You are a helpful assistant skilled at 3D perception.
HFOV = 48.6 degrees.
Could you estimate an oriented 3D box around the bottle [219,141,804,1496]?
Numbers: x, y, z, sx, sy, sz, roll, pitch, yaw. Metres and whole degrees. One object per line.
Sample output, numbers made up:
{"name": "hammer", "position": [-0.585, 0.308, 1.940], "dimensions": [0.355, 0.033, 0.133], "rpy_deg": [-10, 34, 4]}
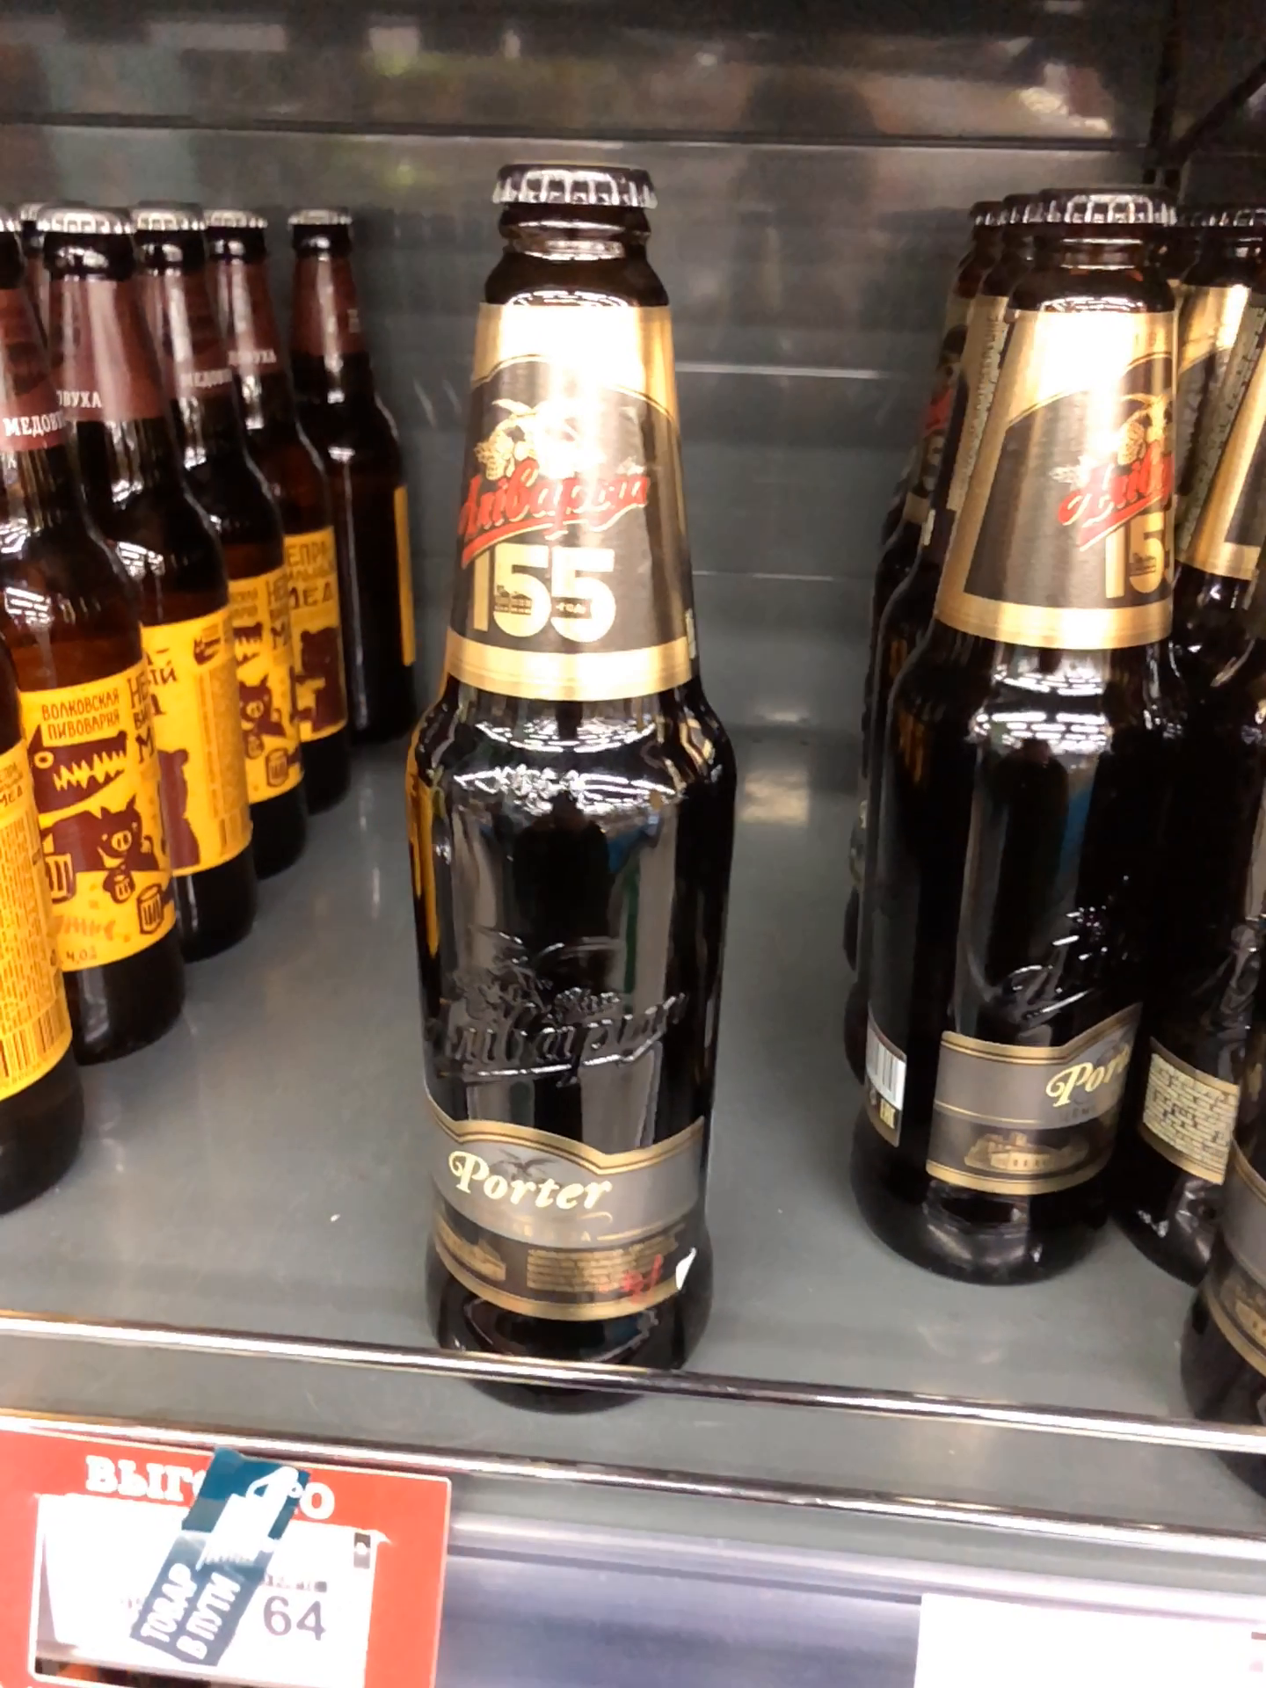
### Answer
{"name": "bottle", "position": [-0.019, 0.001, 0.298], "dimensions": [0.080, 0.263, 0.080], "rpy_deg": [1, 23, -1]}
